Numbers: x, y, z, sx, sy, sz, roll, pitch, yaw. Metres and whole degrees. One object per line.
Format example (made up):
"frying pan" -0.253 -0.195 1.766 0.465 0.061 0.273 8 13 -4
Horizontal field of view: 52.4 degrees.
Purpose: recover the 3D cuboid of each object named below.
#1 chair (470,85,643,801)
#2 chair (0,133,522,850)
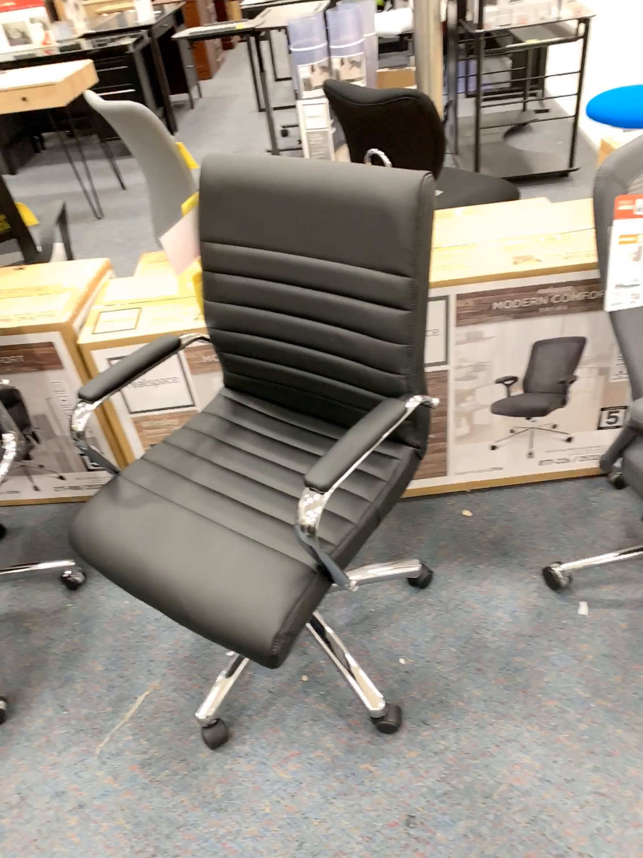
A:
"chair" 0.809 -0.028 1.212 0.734 0.873 0.723 -23 41 -17
"chair" -0.111 0.078 1.192 0.656 0.953 0.651 19 47 31
